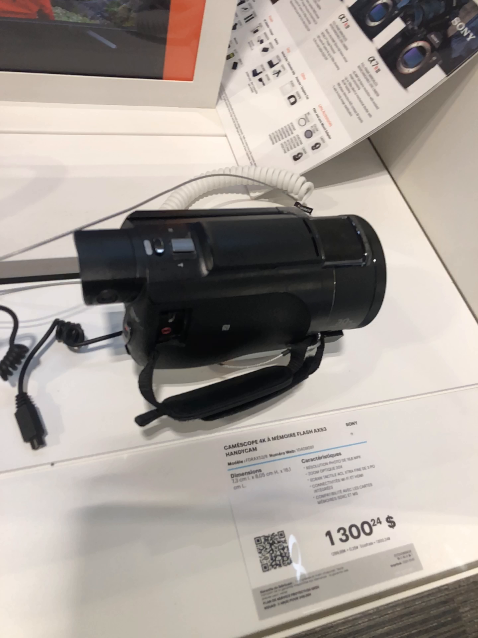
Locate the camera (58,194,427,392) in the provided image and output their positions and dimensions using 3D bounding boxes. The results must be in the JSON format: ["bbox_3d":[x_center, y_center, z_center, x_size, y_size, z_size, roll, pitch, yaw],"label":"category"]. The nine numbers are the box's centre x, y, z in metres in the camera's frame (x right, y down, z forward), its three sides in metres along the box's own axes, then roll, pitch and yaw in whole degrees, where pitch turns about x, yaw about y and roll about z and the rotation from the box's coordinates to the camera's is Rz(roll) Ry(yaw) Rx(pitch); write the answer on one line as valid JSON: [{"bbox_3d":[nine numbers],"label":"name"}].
[{"bbox_3d":[-0.001,-0.017,0.275,0.168,0.066,0.061,-6,57,-19],"label":"camera"}]
